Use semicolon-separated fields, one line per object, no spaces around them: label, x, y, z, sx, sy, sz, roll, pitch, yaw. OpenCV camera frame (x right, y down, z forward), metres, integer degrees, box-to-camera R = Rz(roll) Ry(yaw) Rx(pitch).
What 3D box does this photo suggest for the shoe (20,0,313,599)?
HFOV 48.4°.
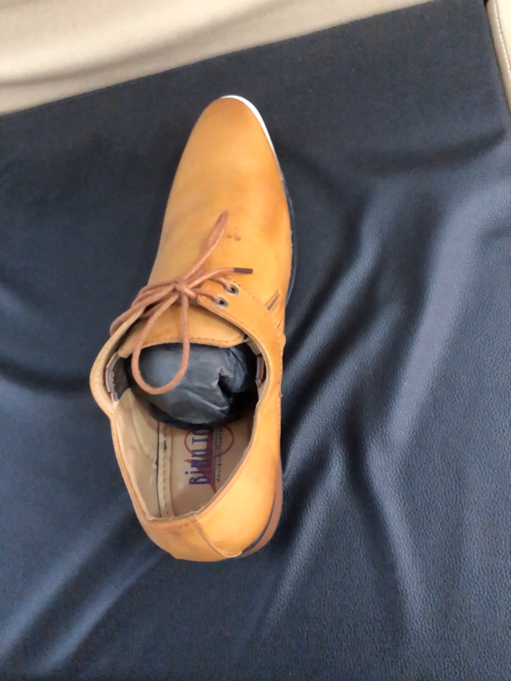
shoe;-0.034;-0.030;0.316;0.110;0.100;0.300;-4;75;15
